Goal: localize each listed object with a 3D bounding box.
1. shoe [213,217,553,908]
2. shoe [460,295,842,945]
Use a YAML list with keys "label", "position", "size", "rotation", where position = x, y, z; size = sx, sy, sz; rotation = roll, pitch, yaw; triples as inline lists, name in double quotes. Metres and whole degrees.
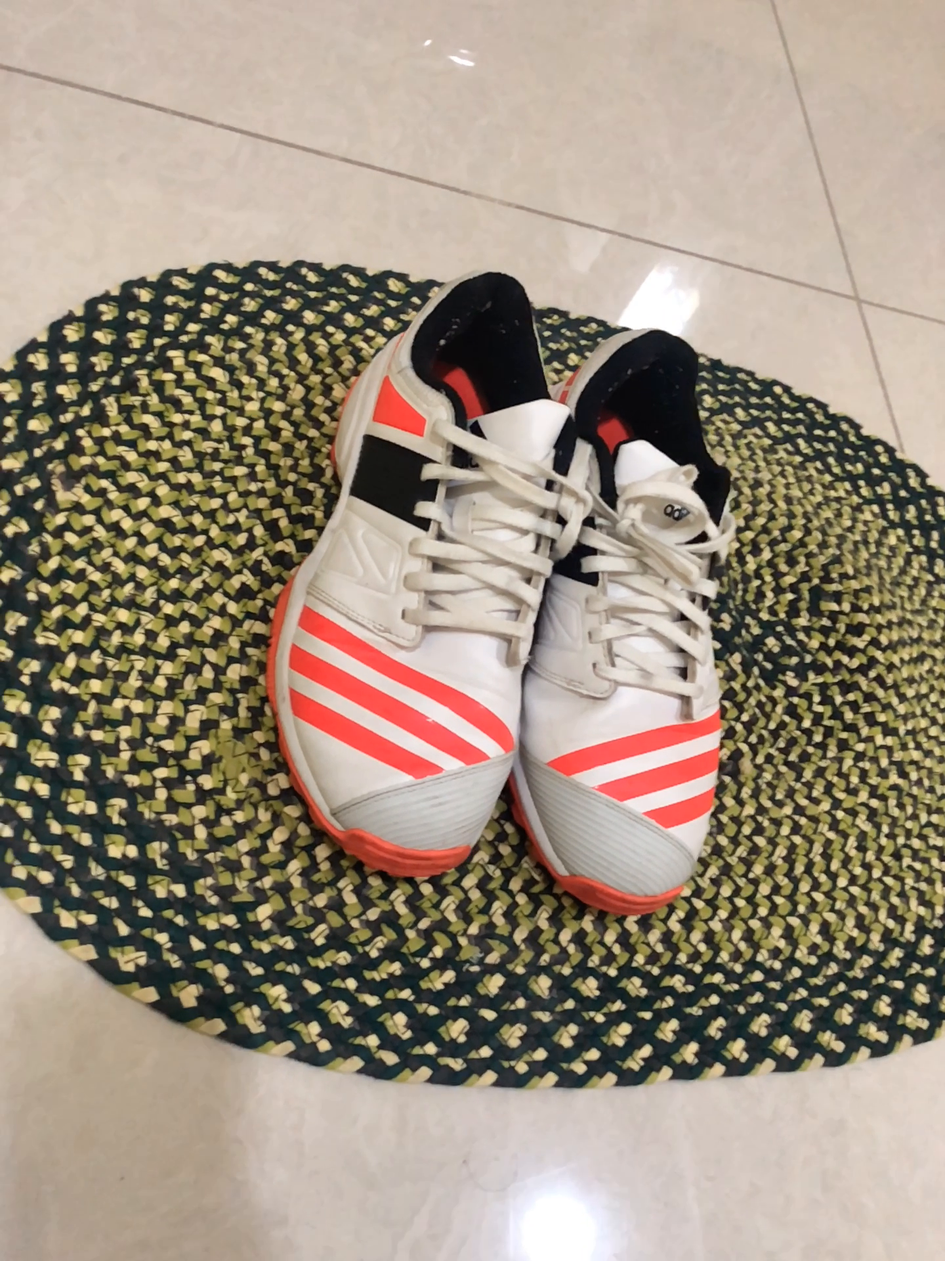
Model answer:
- label: "shoe"
  position: [-0.032, -0.033, 0.447]
  size: [0.100, 0.090, 0.270]
  rotation: [13, 60, -17]
- label: "shoe"
  position: [0.070, -0.005, 0.460]
  size: [0.110, 0.100, 0.250]
  rotation: [13, 60, -17]
